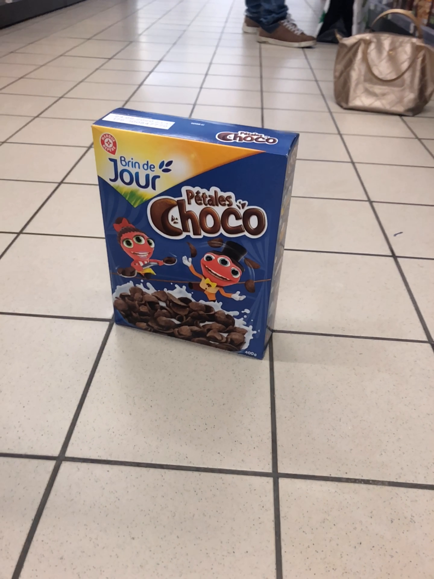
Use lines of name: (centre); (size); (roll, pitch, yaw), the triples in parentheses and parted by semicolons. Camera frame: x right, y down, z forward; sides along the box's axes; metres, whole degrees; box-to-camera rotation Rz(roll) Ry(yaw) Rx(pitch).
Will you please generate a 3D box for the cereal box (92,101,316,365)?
cereal box: (-0.016, -0.056, 0.524); (0.200, 0.248, 0.070); (13, 37, 15)
